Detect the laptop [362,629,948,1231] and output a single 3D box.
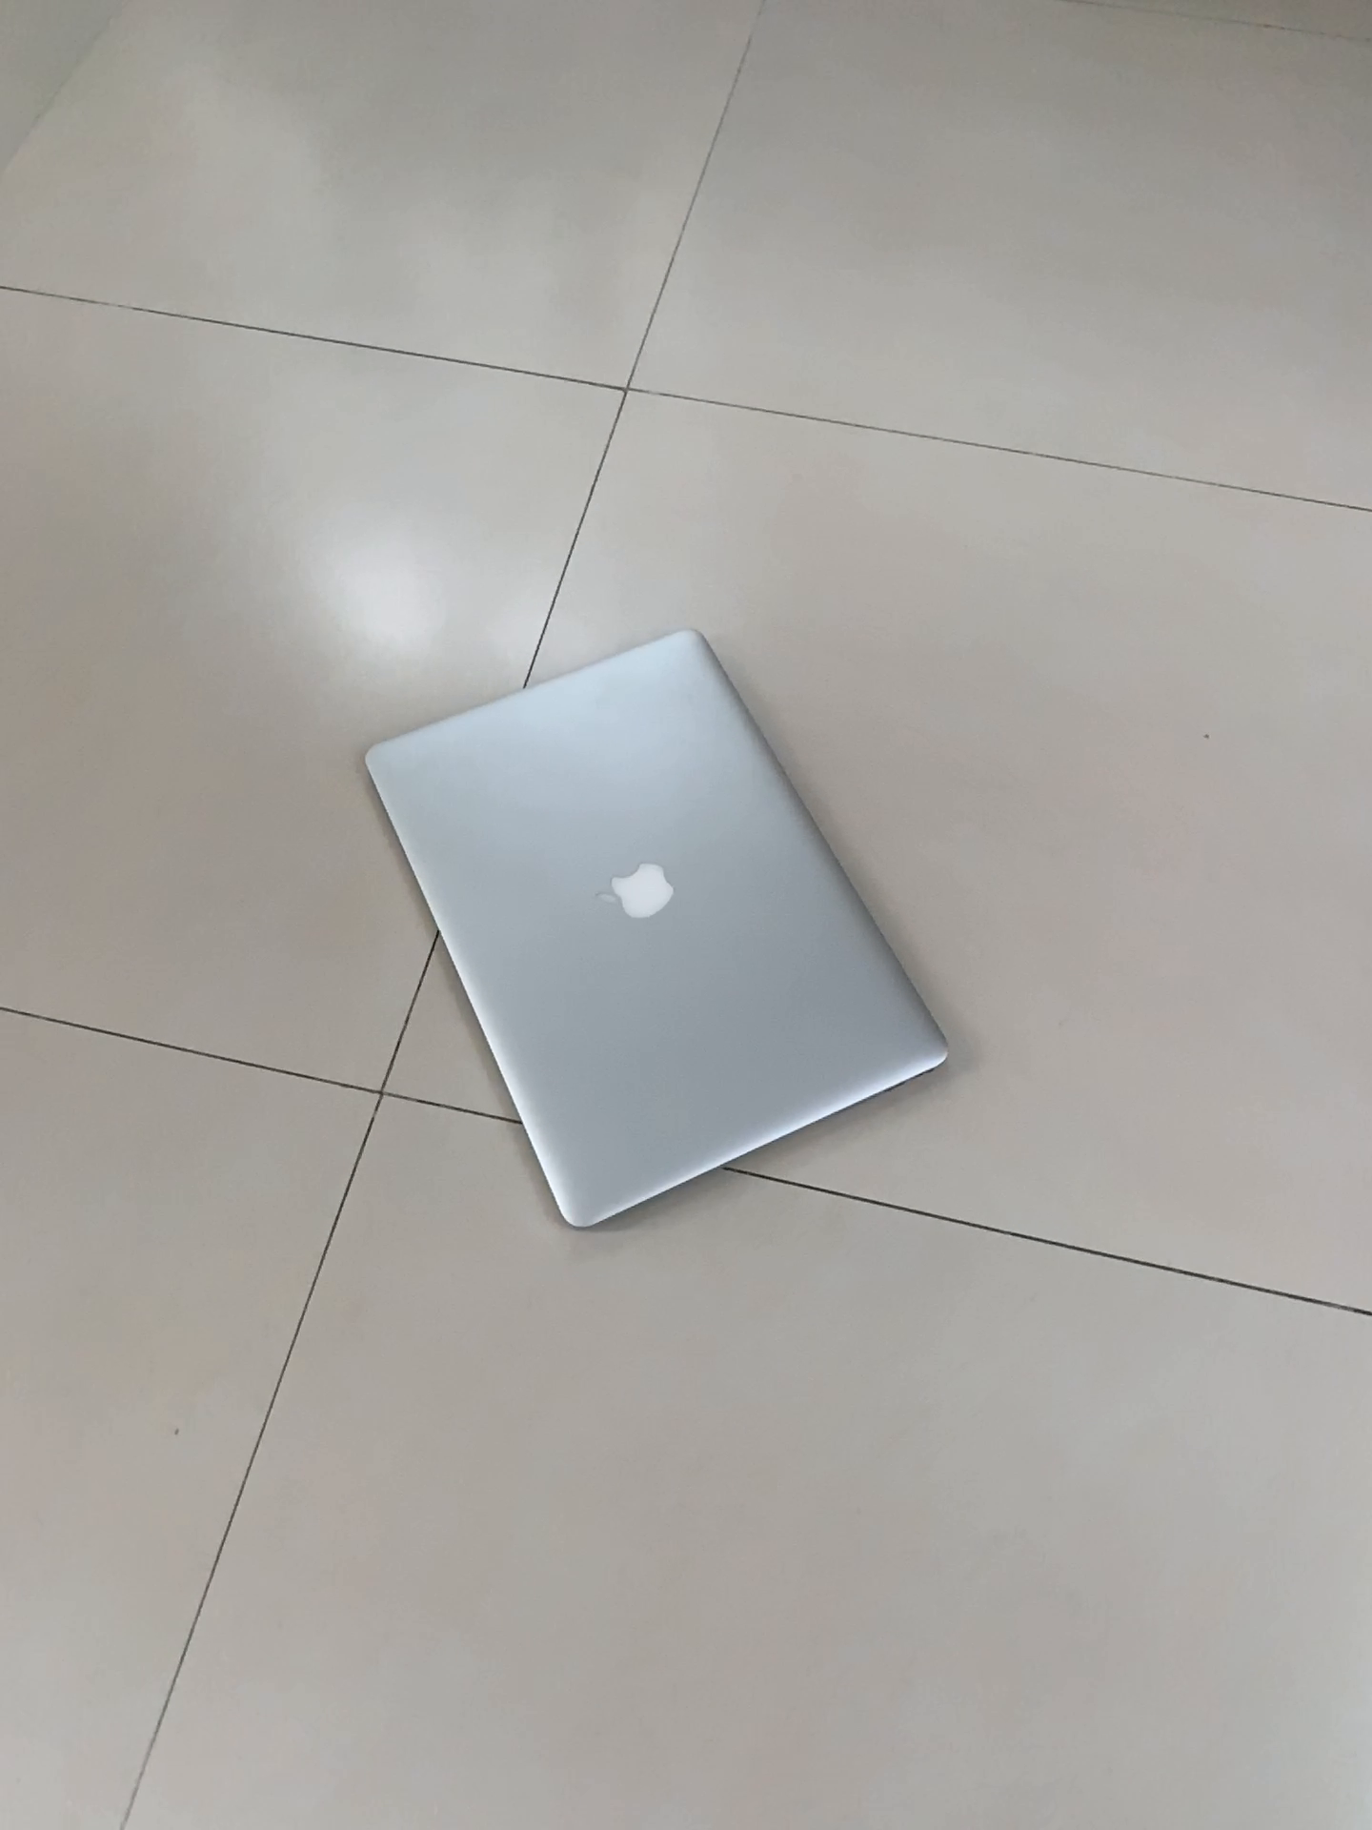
[{"bbox_3d":[-0.031,-0.012,0.876,0.239,0.001,0.356,-23,63,-11],"label":"laptop"}]
